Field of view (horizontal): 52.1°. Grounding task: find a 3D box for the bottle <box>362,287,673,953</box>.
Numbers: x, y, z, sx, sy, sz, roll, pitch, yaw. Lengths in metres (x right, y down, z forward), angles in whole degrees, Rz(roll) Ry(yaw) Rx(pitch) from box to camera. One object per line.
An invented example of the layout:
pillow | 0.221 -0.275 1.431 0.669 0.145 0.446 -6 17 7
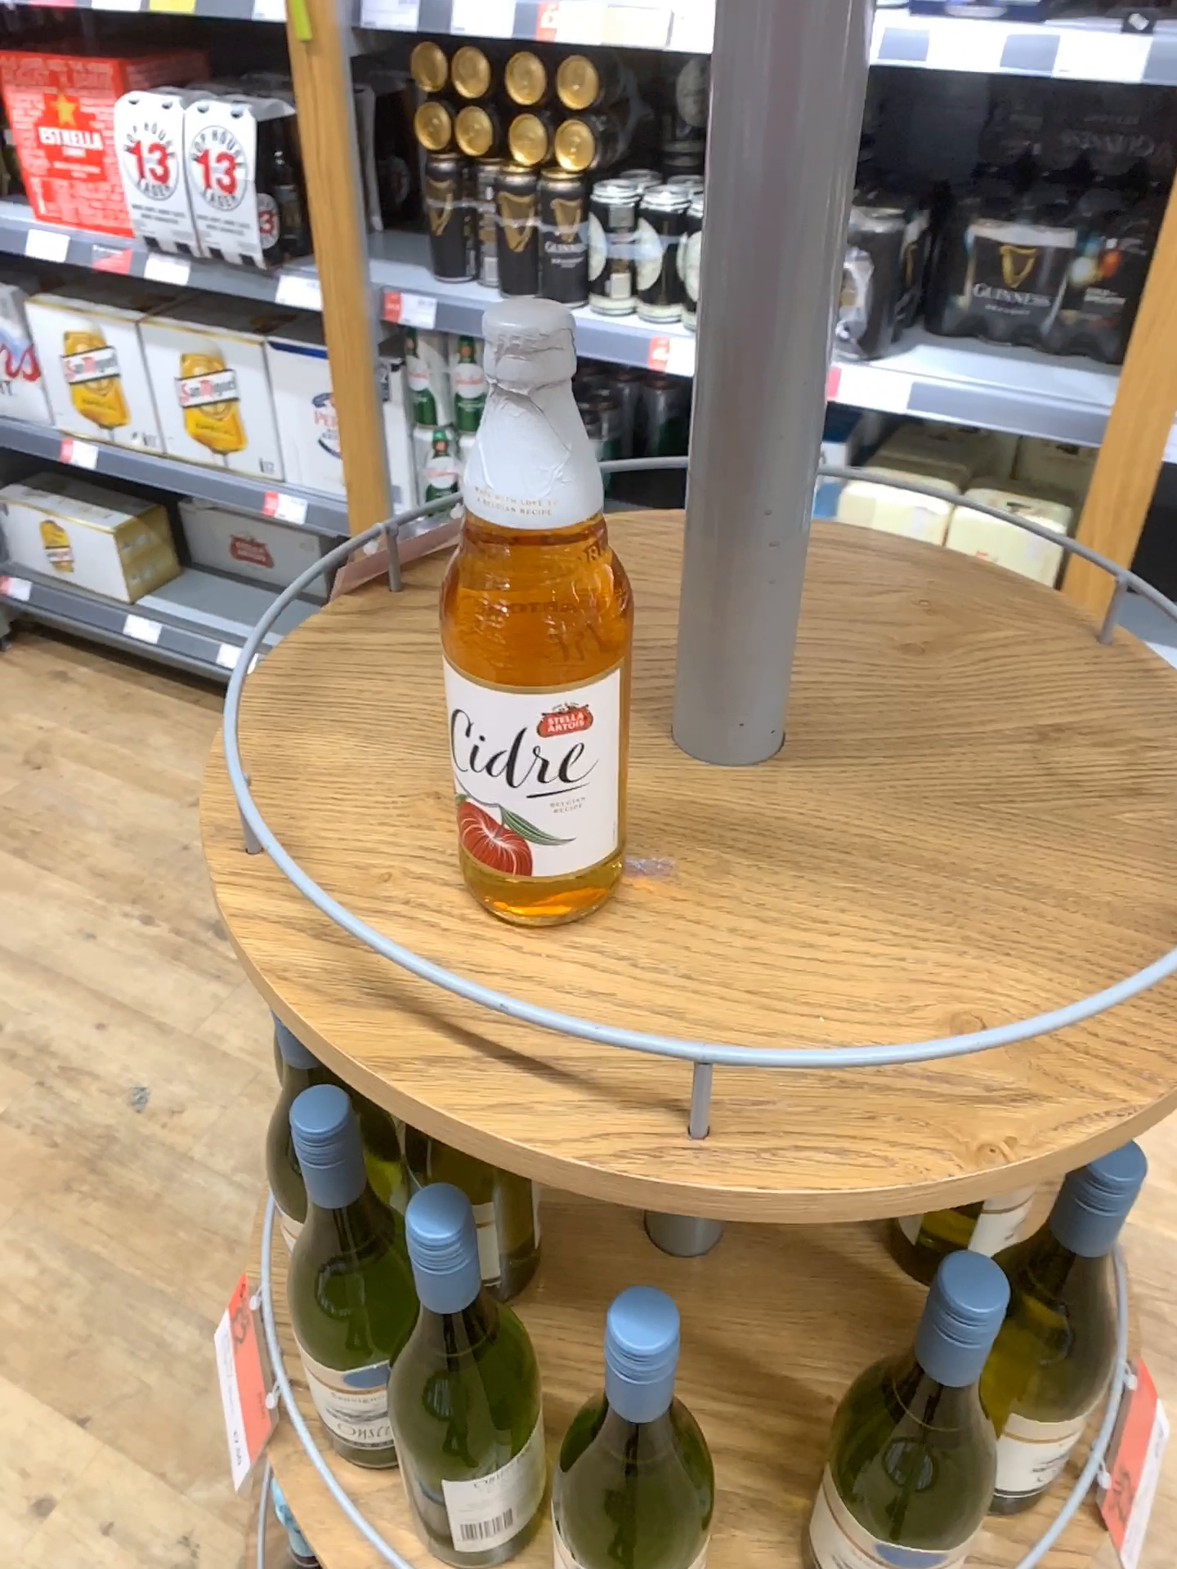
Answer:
bottle | -0.020 -0.051 0.431 0.069 0.218 0.071 0 38 0
